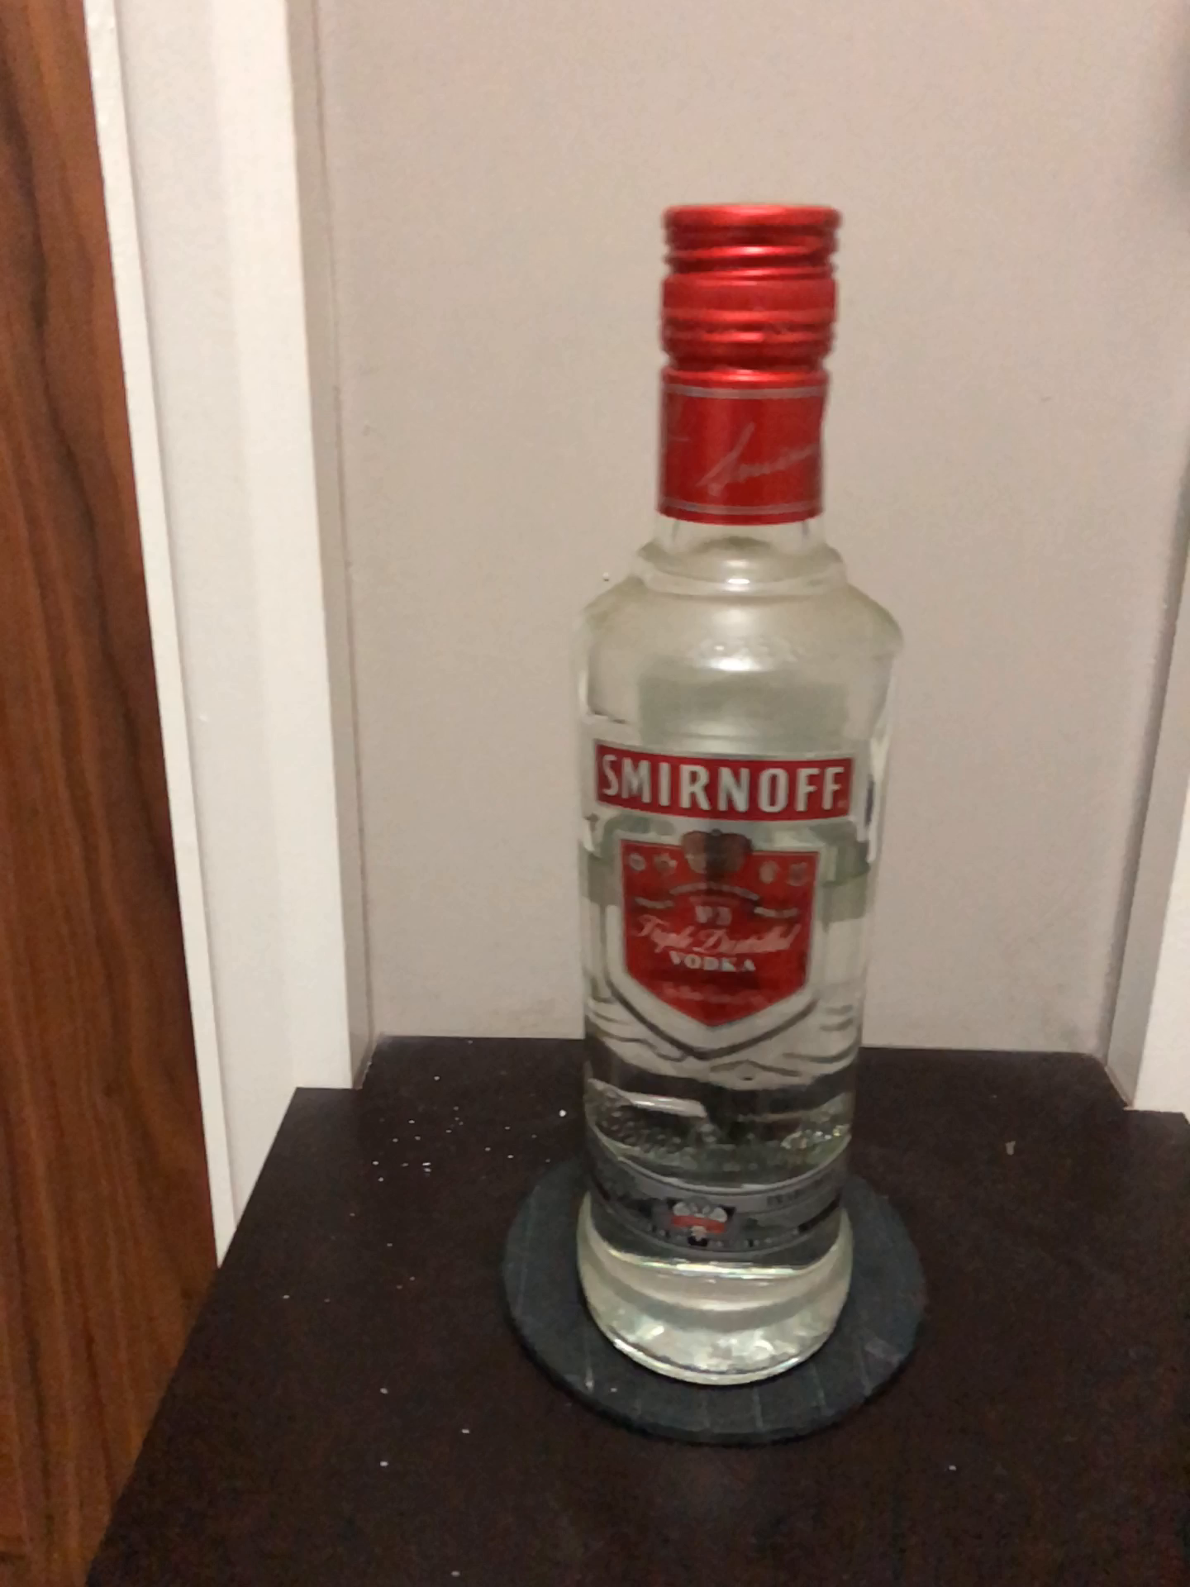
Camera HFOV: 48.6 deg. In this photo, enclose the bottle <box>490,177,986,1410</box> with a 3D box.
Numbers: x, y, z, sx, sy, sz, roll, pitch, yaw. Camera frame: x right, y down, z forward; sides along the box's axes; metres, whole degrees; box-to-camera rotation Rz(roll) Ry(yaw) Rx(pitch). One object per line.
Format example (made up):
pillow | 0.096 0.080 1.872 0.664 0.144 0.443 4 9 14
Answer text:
bottle | 0.024 0.003 0.257 0.070 0.219 0.070 1 20 0
